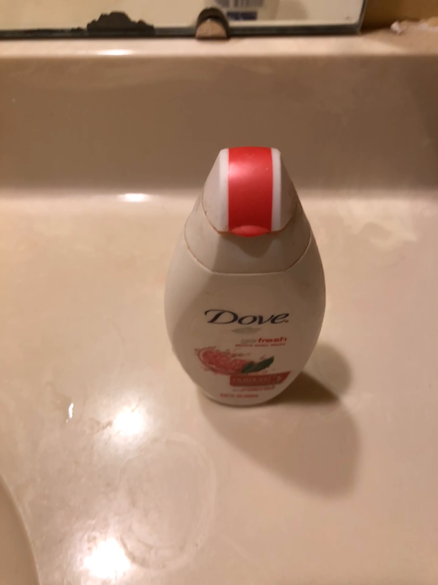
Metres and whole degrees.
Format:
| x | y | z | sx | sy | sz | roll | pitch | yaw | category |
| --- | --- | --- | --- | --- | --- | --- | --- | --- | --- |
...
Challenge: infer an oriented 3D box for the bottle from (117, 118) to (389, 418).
| x | y | z | sx | sy | sz | roll | pitch | yaw | category |
| --- | --- | --- | --- | --- | --- | --- | --- | --- | --- |
| 0.011 | 0.007 | 0.205 | 0.070 | 0.160 | 0.040 | 1 | 59 | 3 | bottle |
